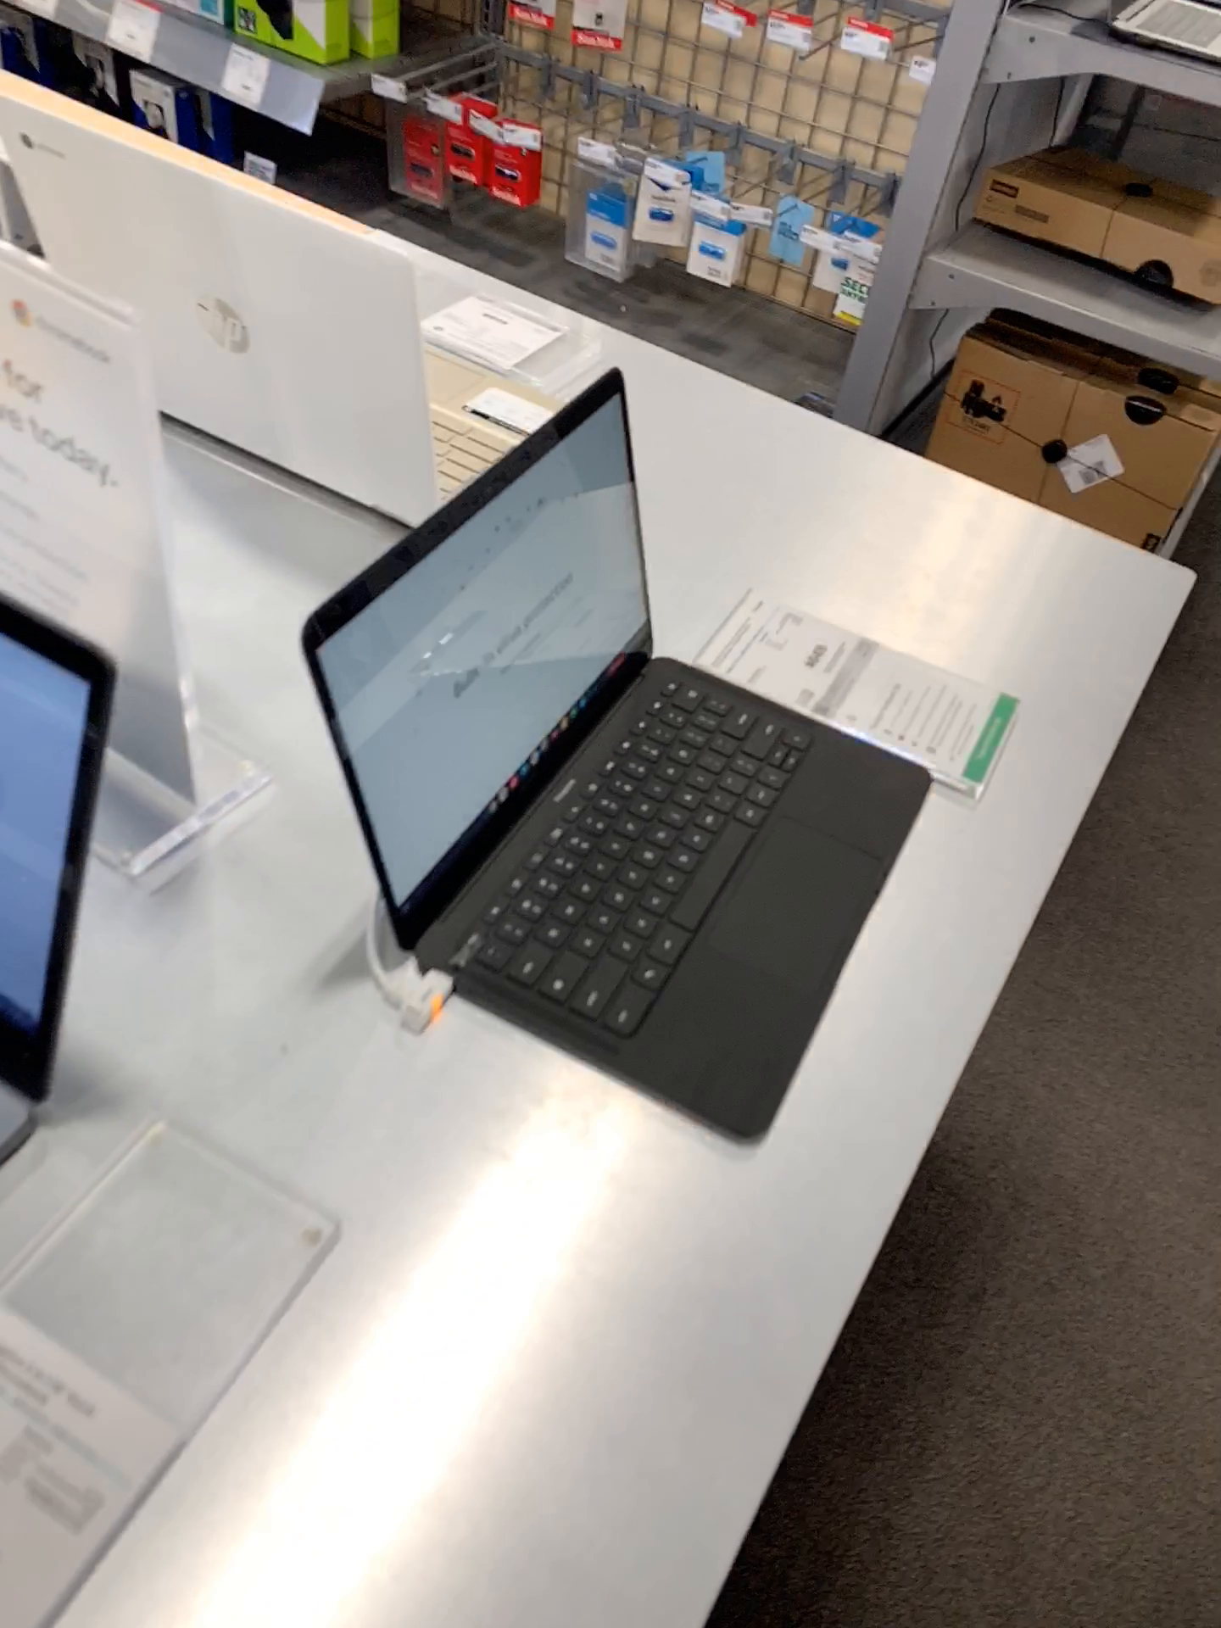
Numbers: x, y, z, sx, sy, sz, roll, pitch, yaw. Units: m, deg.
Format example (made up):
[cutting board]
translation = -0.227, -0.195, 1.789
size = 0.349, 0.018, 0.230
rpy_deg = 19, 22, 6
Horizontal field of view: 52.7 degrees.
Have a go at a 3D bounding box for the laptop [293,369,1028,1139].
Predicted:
[laptop]
translation = 0.032, -0.050, 0.648
size = 0.253, 0.180, 0.295
rpy_deg = 26, 47, 12
